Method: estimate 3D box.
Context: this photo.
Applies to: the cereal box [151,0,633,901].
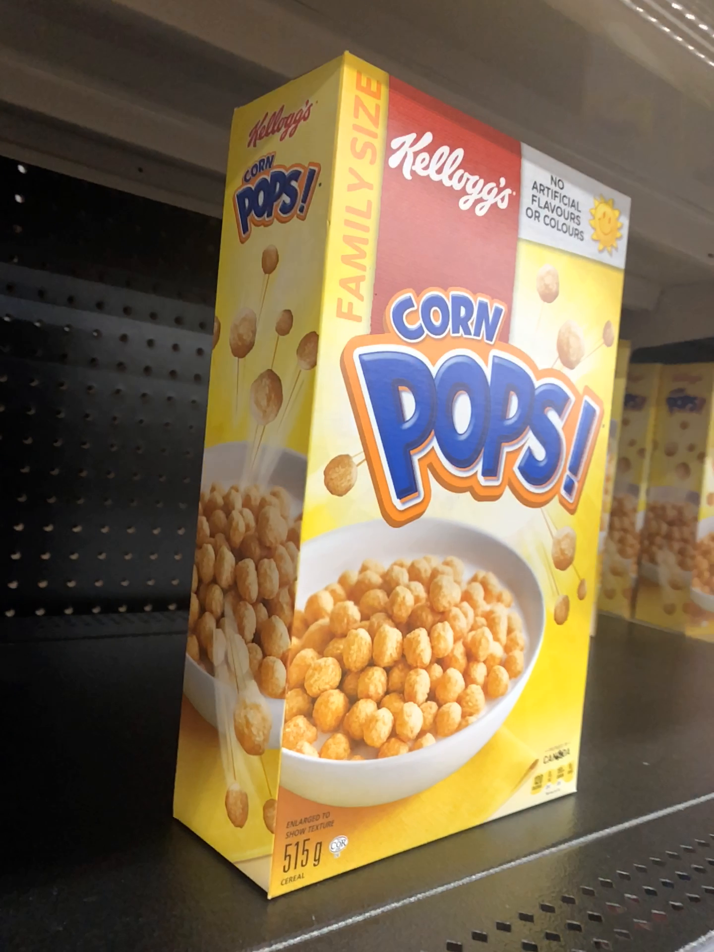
[{"bbox_3d":[0.028,-0.007,0.379,0.200,0.320,0.090,5,-1,-42],"label":"cereal box"}]
